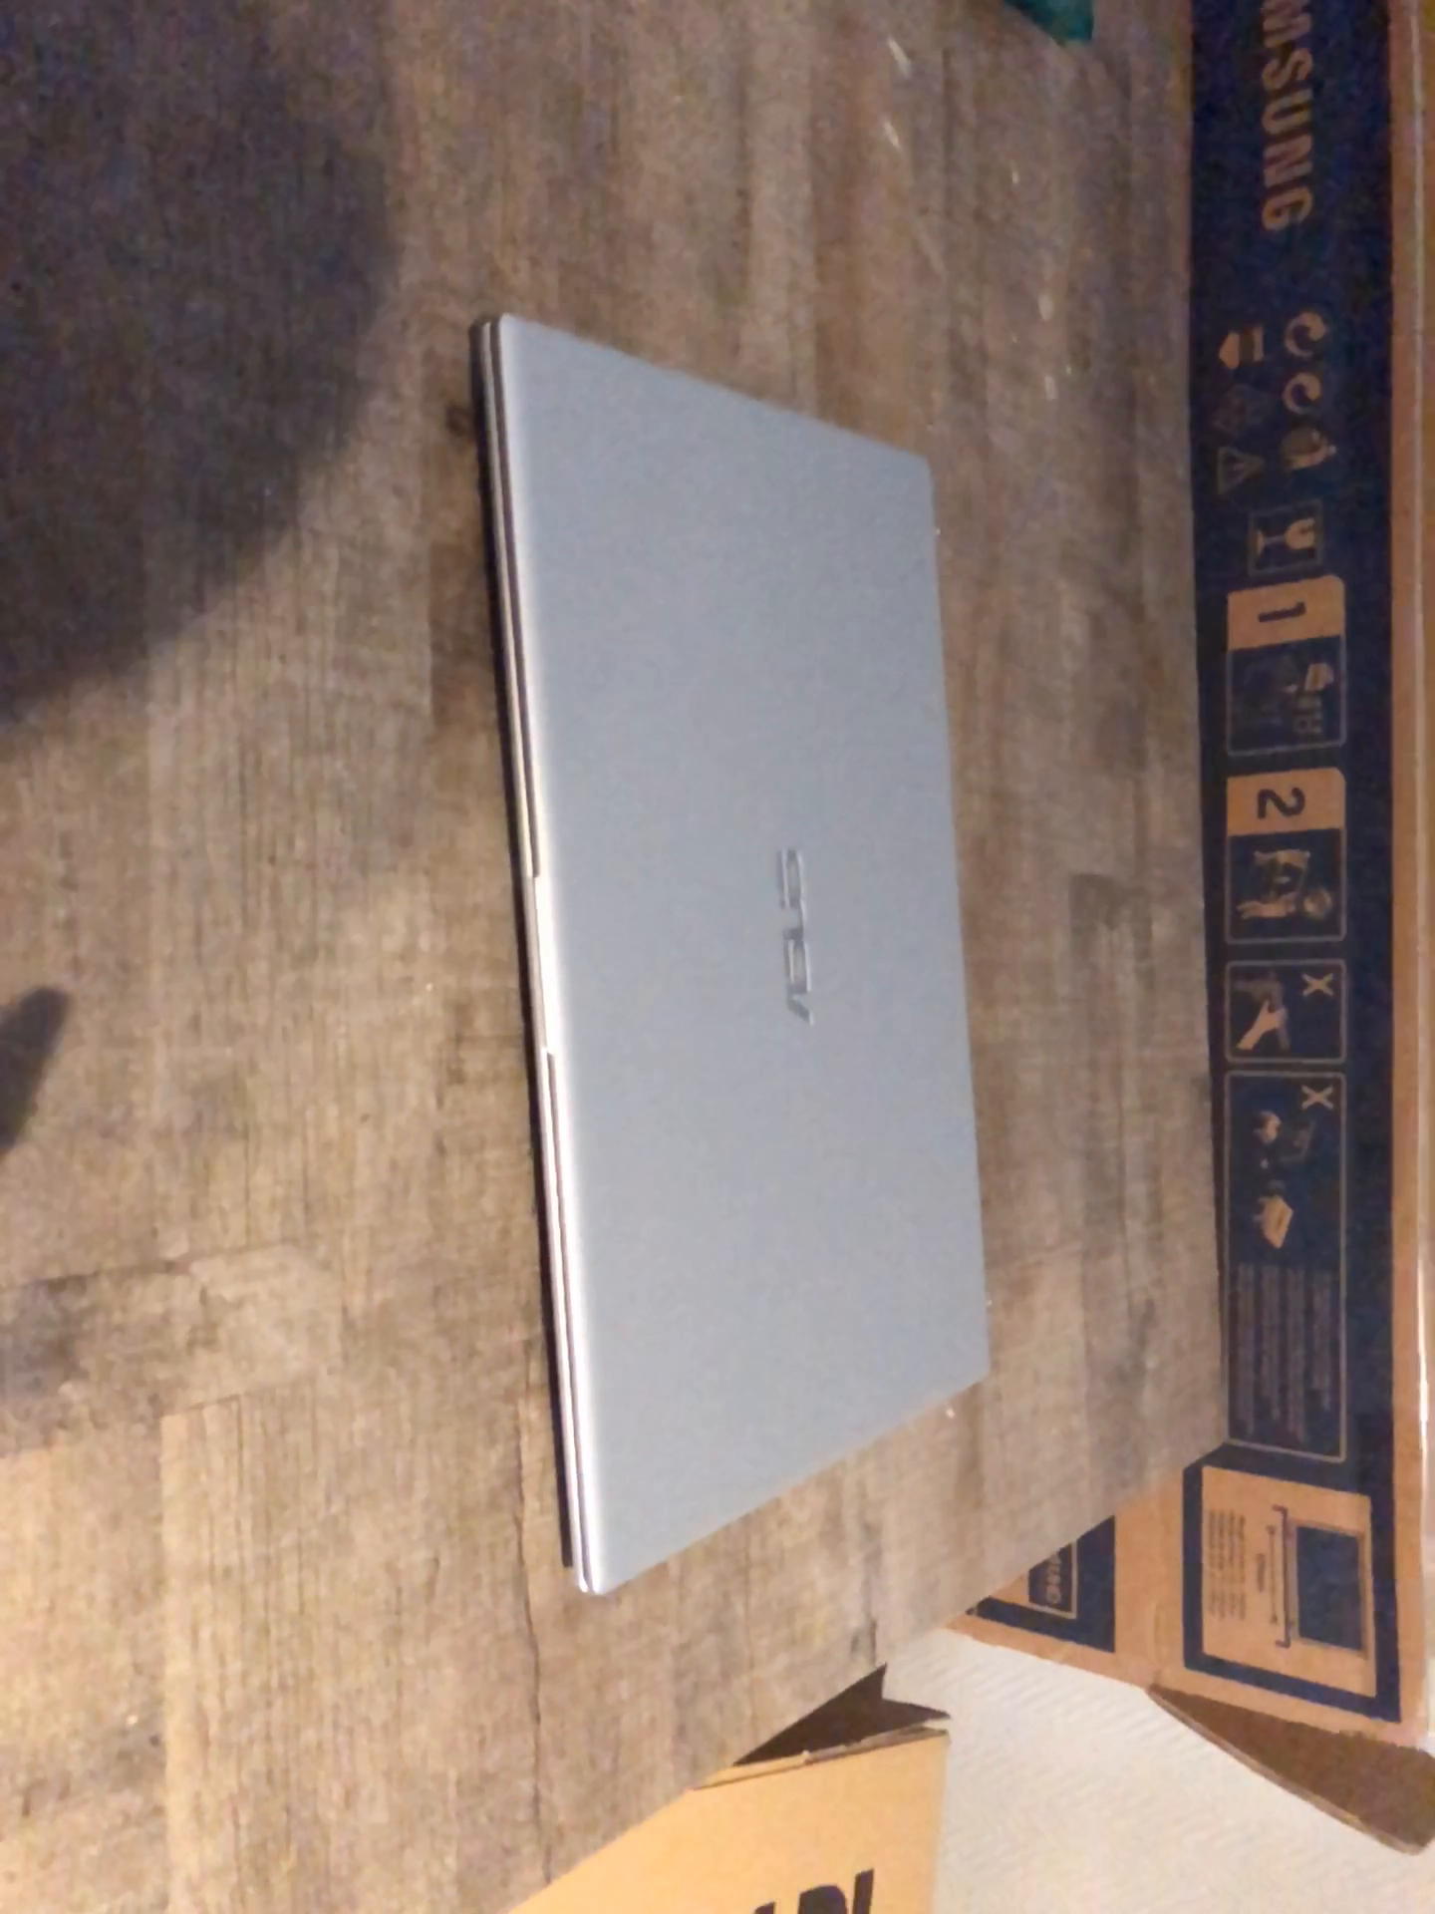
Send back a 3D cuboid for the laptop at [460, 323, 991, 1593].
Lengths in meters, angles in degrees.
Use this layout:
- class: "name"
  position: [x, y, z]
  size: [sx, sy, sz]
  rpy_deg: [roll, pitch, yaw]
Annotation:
- class: "laptop"
  position: [0.019, -0.004, 0.529]
  size: [0.229, 0.013, 0.353]
  rpy_deg: [-8, 94, -52]
